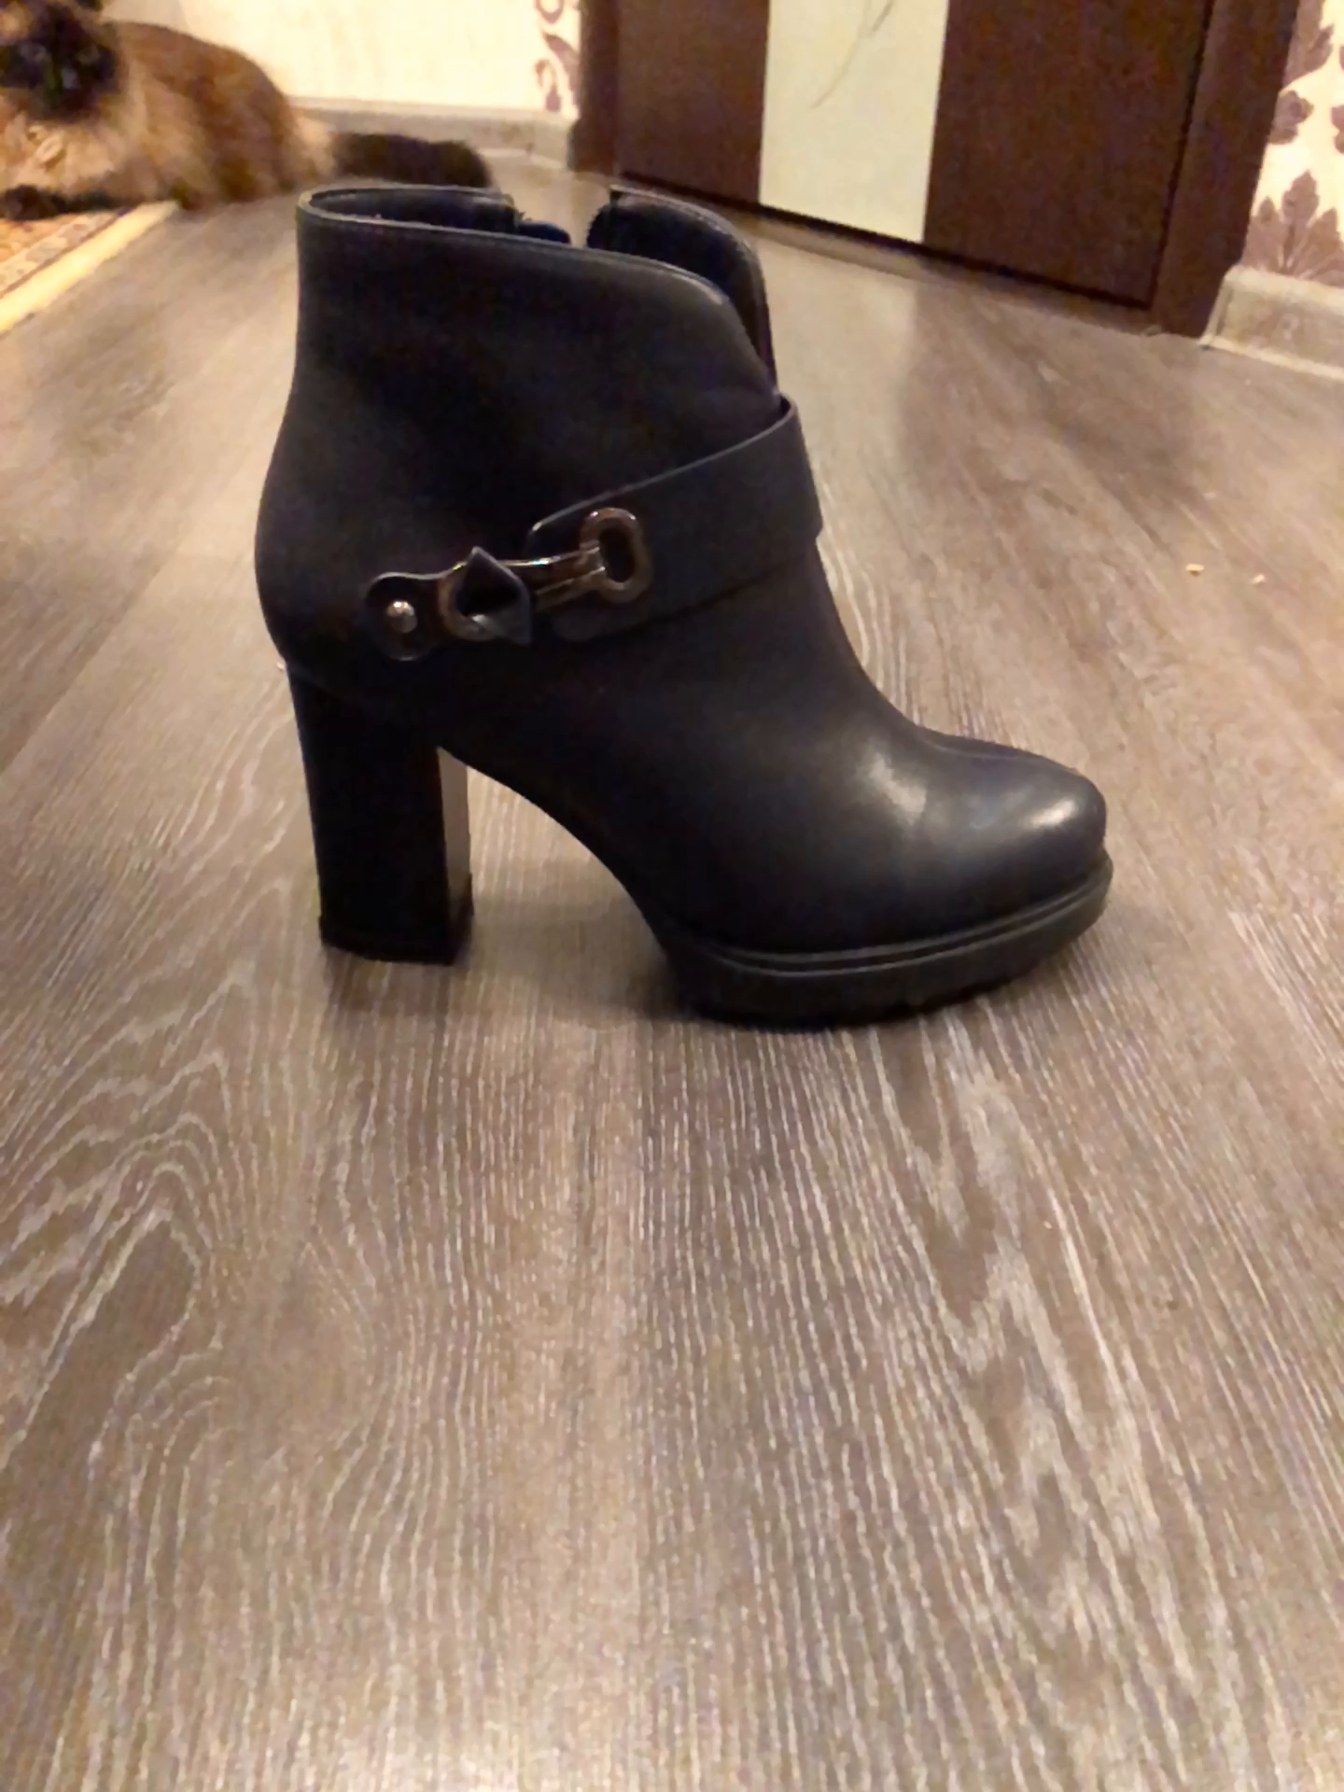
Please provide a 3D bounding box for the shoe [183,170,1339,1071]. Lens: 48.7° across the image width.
[{"bbox_3d":[0.017,-0.071,0.371,0.220,0.179,0.101,6,32,6],"label":"shoe"}]
